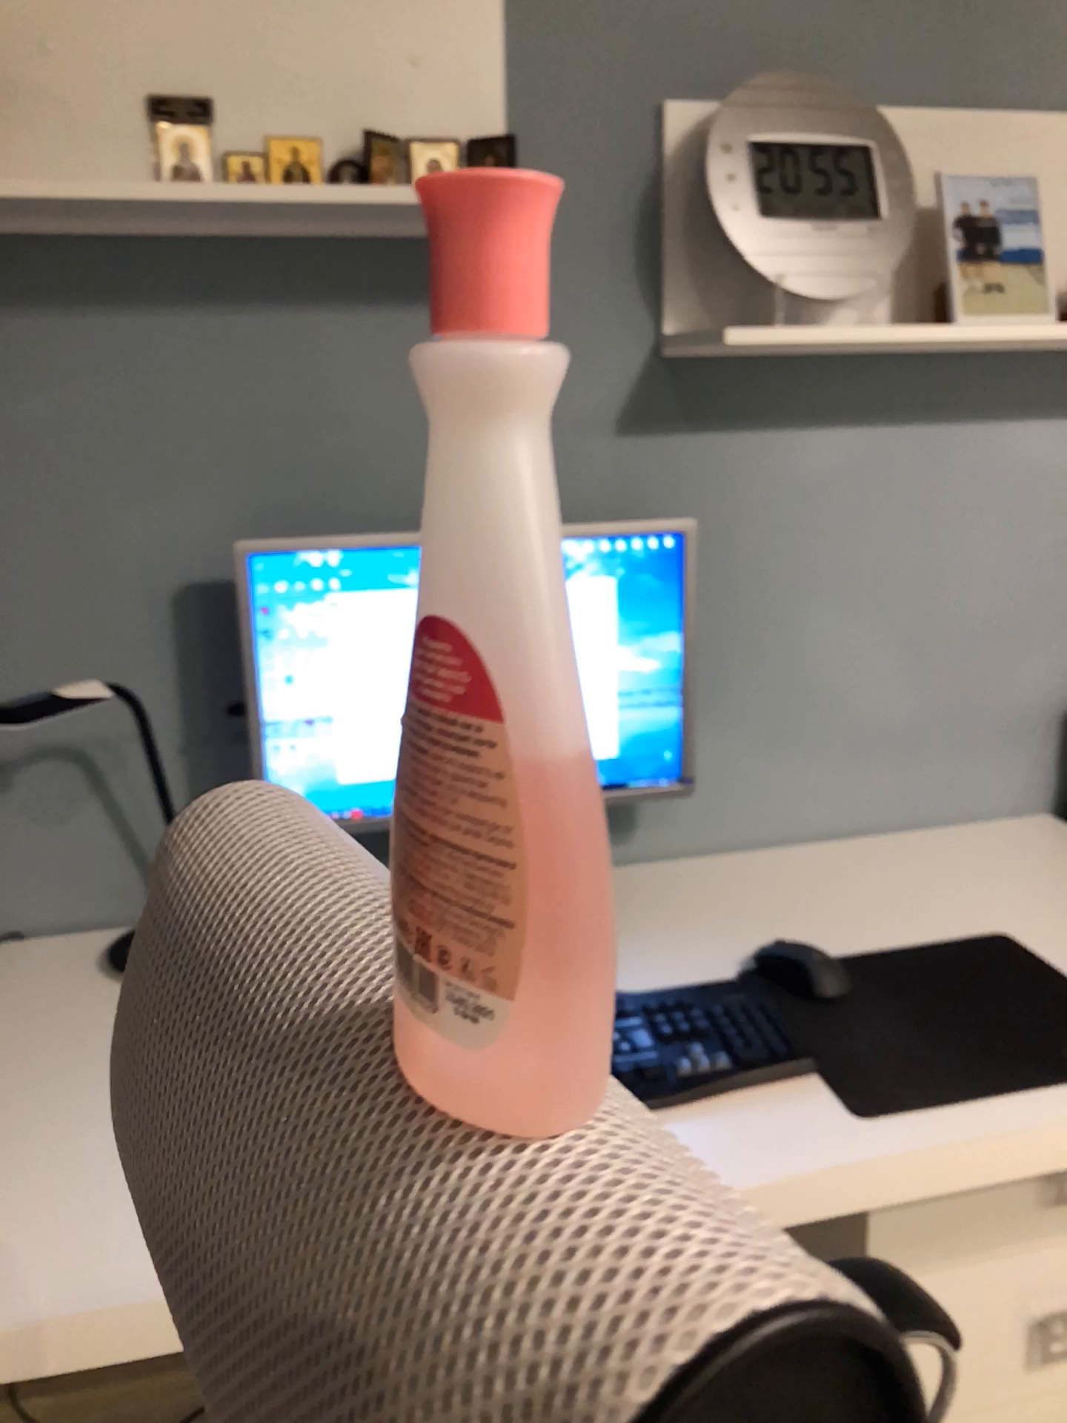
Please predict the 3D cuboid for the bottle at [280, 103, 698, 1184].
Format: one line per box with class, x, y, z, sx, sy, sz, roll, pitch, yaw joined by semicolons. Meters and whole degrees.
bottle;-0.007;-0.010;0.202;0.039;0.157;0.056;-12;18;-36
